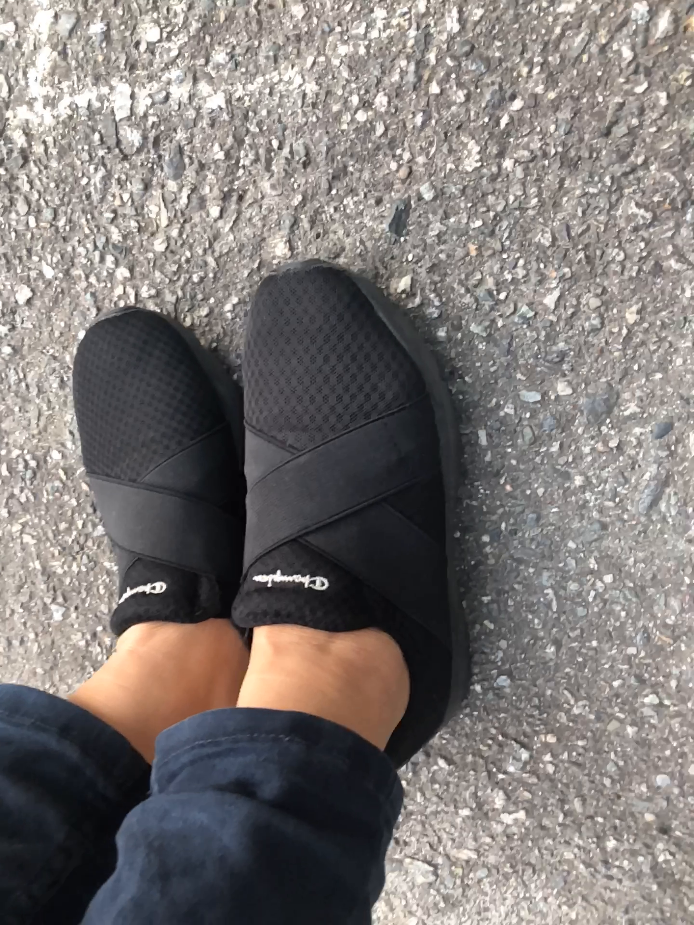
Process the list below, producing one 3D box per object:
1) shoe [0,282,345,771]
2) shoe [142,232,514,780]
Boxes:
[{"bbox_3d":[-0.092,0.034,0.385,0.100,0.070,0.220,-14,101,23],"label":"shoe"},{"bbox_3d":[0.001,0.020,0.344,0.100,0.080,0.220,-8,103,22],"label":"shoe"}]
